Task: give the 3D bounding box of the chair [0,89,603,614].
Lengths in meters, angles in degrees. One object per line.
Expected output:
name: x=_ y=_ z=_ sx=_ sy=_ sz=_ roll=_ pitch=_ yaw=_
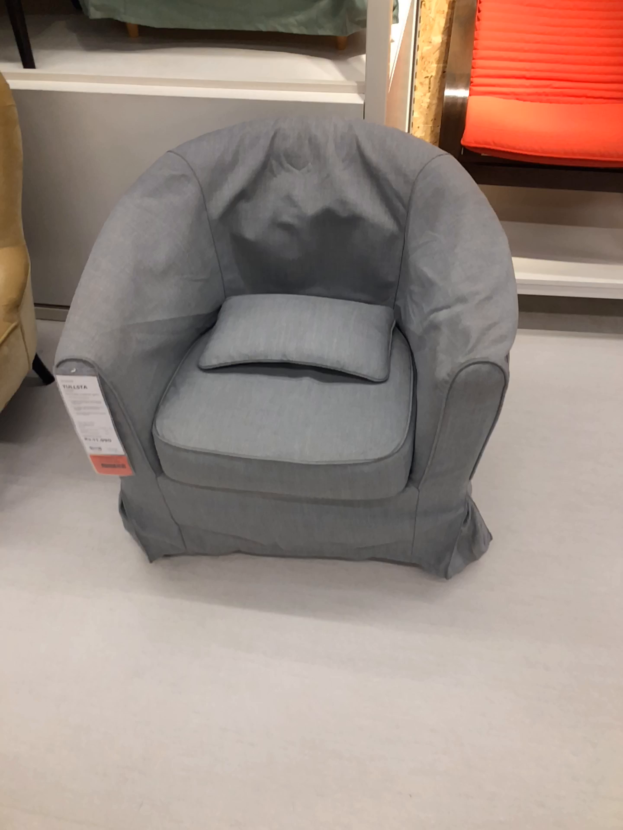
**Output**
chair: x=-0.004 y=-0.135 z=1.456 sx=0.870 sy=0.795 sz=0.725 roll=3 pitch=47 yaw=6
